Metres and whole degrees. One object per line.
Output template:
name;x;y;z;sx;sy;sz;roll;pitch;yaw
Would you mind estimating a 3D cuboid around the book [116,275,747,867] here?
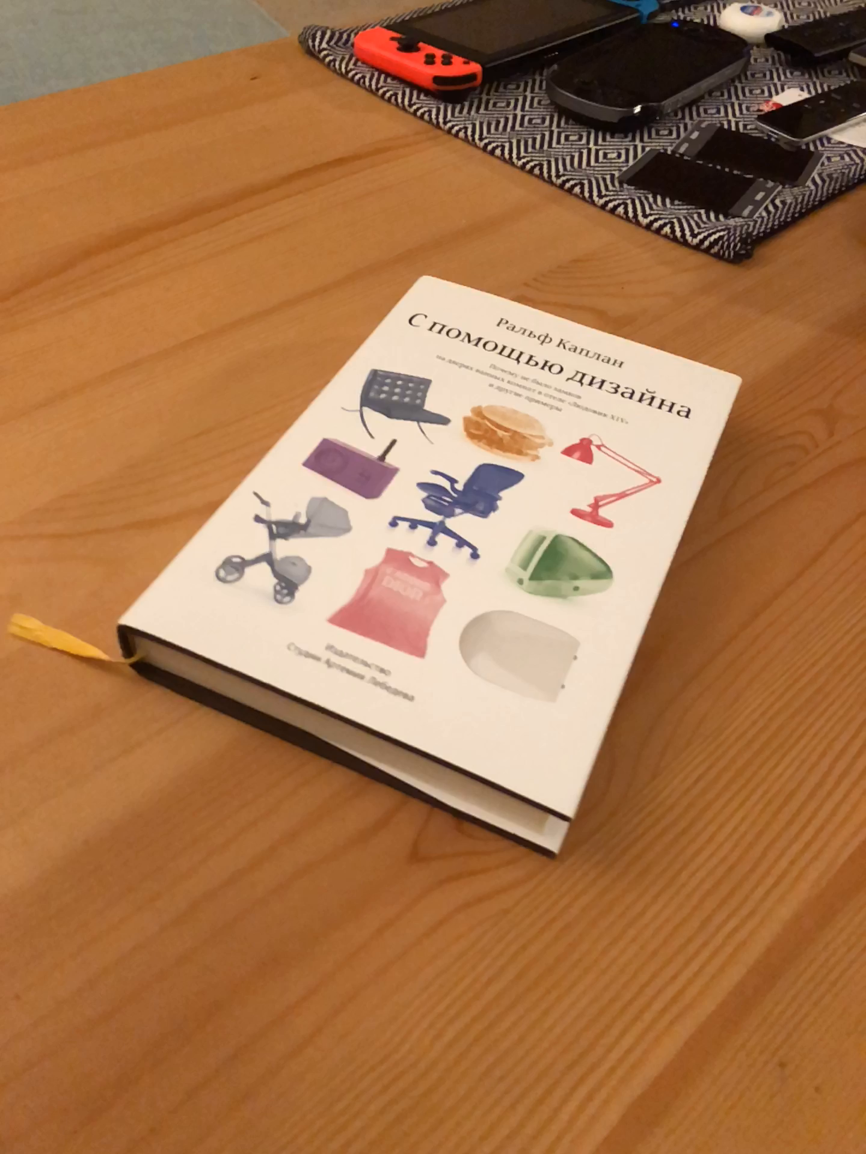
book;0.016;-0.026;0.365;0.152;0.034;0.227;21;51;13
